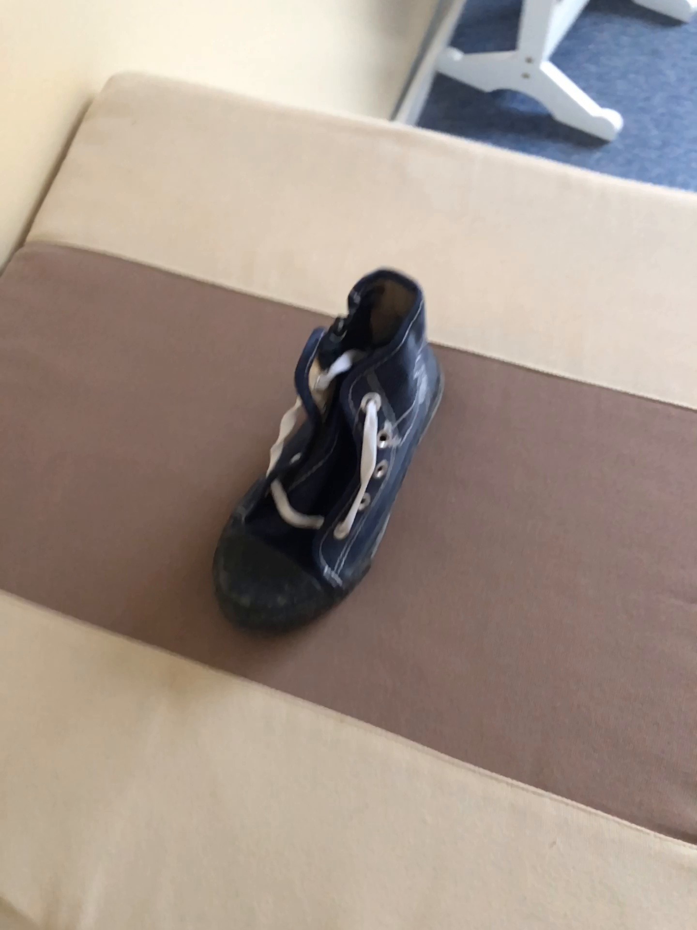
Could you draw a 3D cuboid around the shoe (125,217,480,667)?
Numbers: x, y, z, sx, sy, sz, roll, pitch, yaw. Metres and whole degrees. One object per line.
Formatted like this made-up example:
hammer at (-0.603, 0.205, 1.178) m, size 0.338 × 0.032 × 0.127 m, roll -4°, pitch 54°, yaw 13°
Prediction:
shoe at (-0.013, -0.009, 0.413) m, size 0.090 × 0.100 × 0.200 m, roll 23°, pitch 75°, yaw 13°
